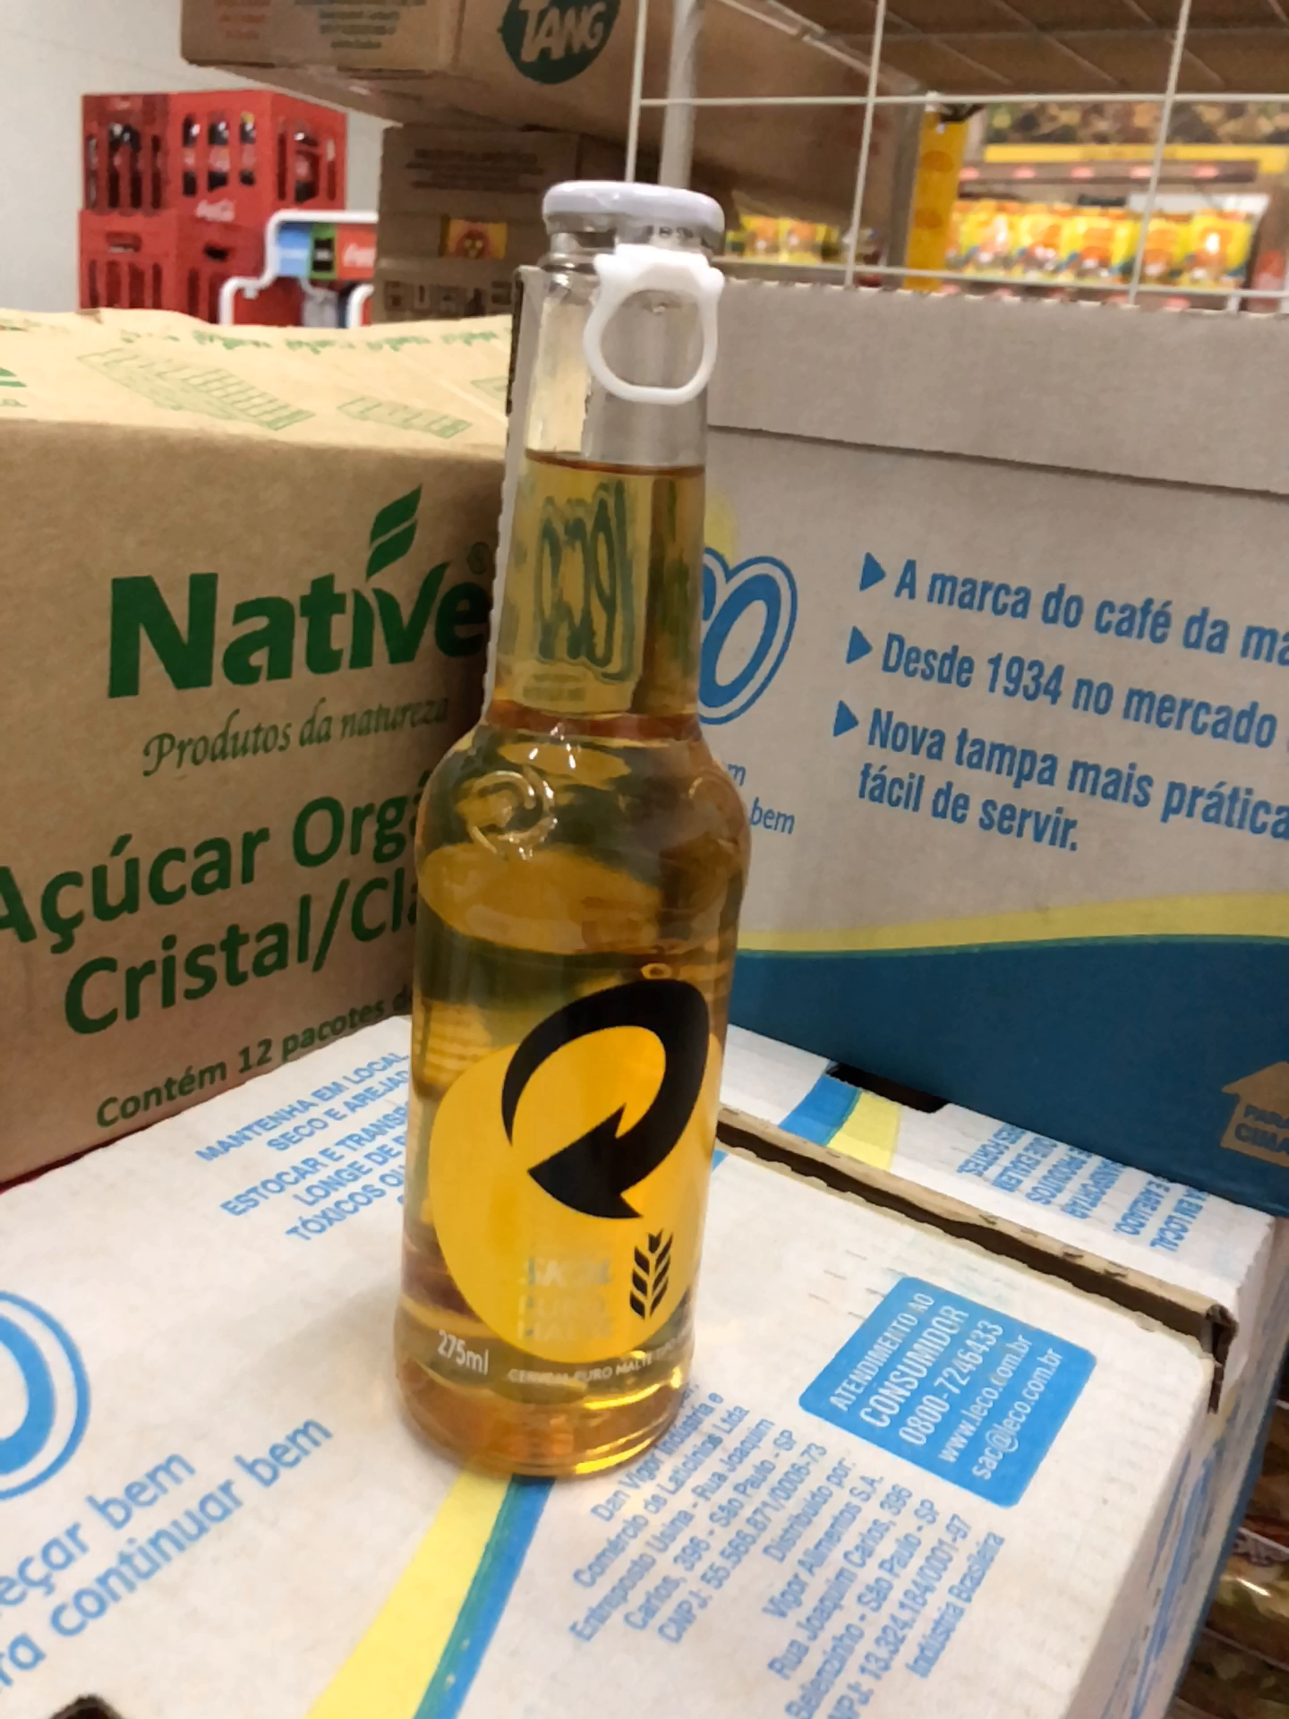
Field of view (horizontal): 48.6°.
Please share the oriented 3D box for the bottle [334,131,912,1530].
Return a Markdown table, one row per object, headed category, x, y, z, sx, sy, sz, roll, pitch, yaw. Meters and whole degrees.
| category | x | y | z | sx | sy | sz | roll | pitch | yaw |
| --- | --- | --- | --- | --- | --- | --- | --- | --- | --- |
| bottle | -0.012 | -0.001 | 0.243 | 0.060 | 0.209 | 0.060 | 5 | 17 | -2 |
